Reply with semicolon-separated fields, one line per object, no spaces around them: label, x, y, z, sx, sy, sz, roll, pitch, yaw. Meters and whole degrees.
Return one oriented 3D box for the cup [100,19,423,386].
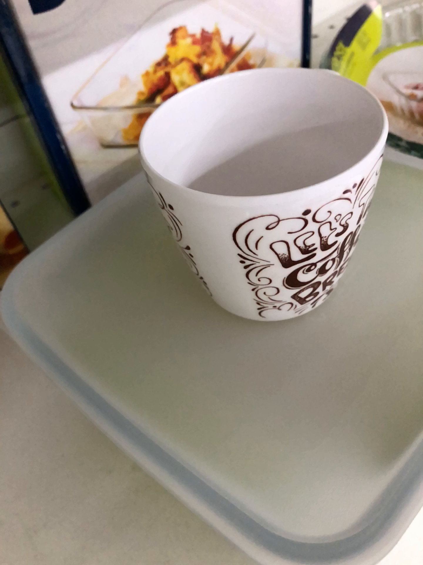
cup;0.030;-0.035;0.172;0.070;0.070;0.101;23;55;28
